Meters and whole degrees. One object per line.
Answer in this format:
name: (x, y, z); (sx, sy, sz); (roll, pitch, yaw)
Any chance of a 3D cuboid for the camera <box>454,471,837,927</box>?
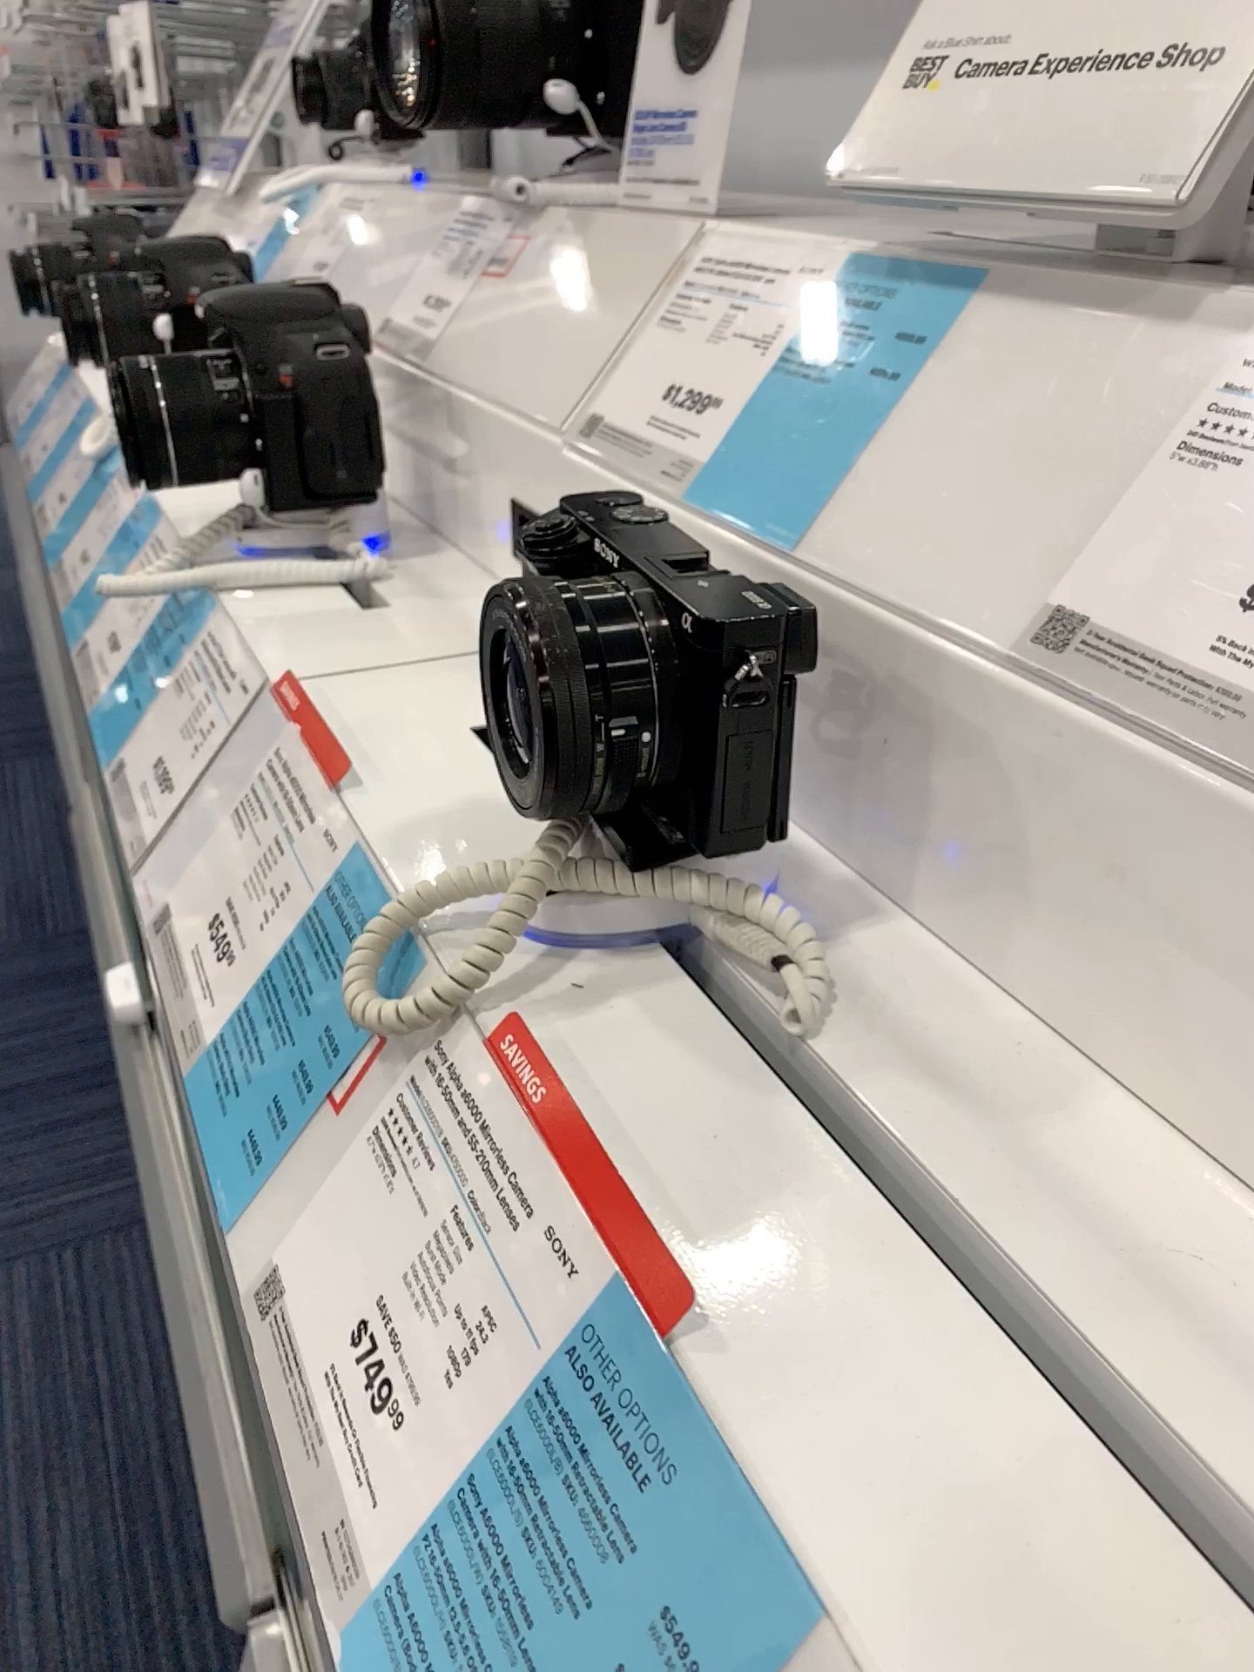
camera: (-0.002, -0.046, 0.364); (0.060, 0.080, 0.131); (-9, 29, -18)
